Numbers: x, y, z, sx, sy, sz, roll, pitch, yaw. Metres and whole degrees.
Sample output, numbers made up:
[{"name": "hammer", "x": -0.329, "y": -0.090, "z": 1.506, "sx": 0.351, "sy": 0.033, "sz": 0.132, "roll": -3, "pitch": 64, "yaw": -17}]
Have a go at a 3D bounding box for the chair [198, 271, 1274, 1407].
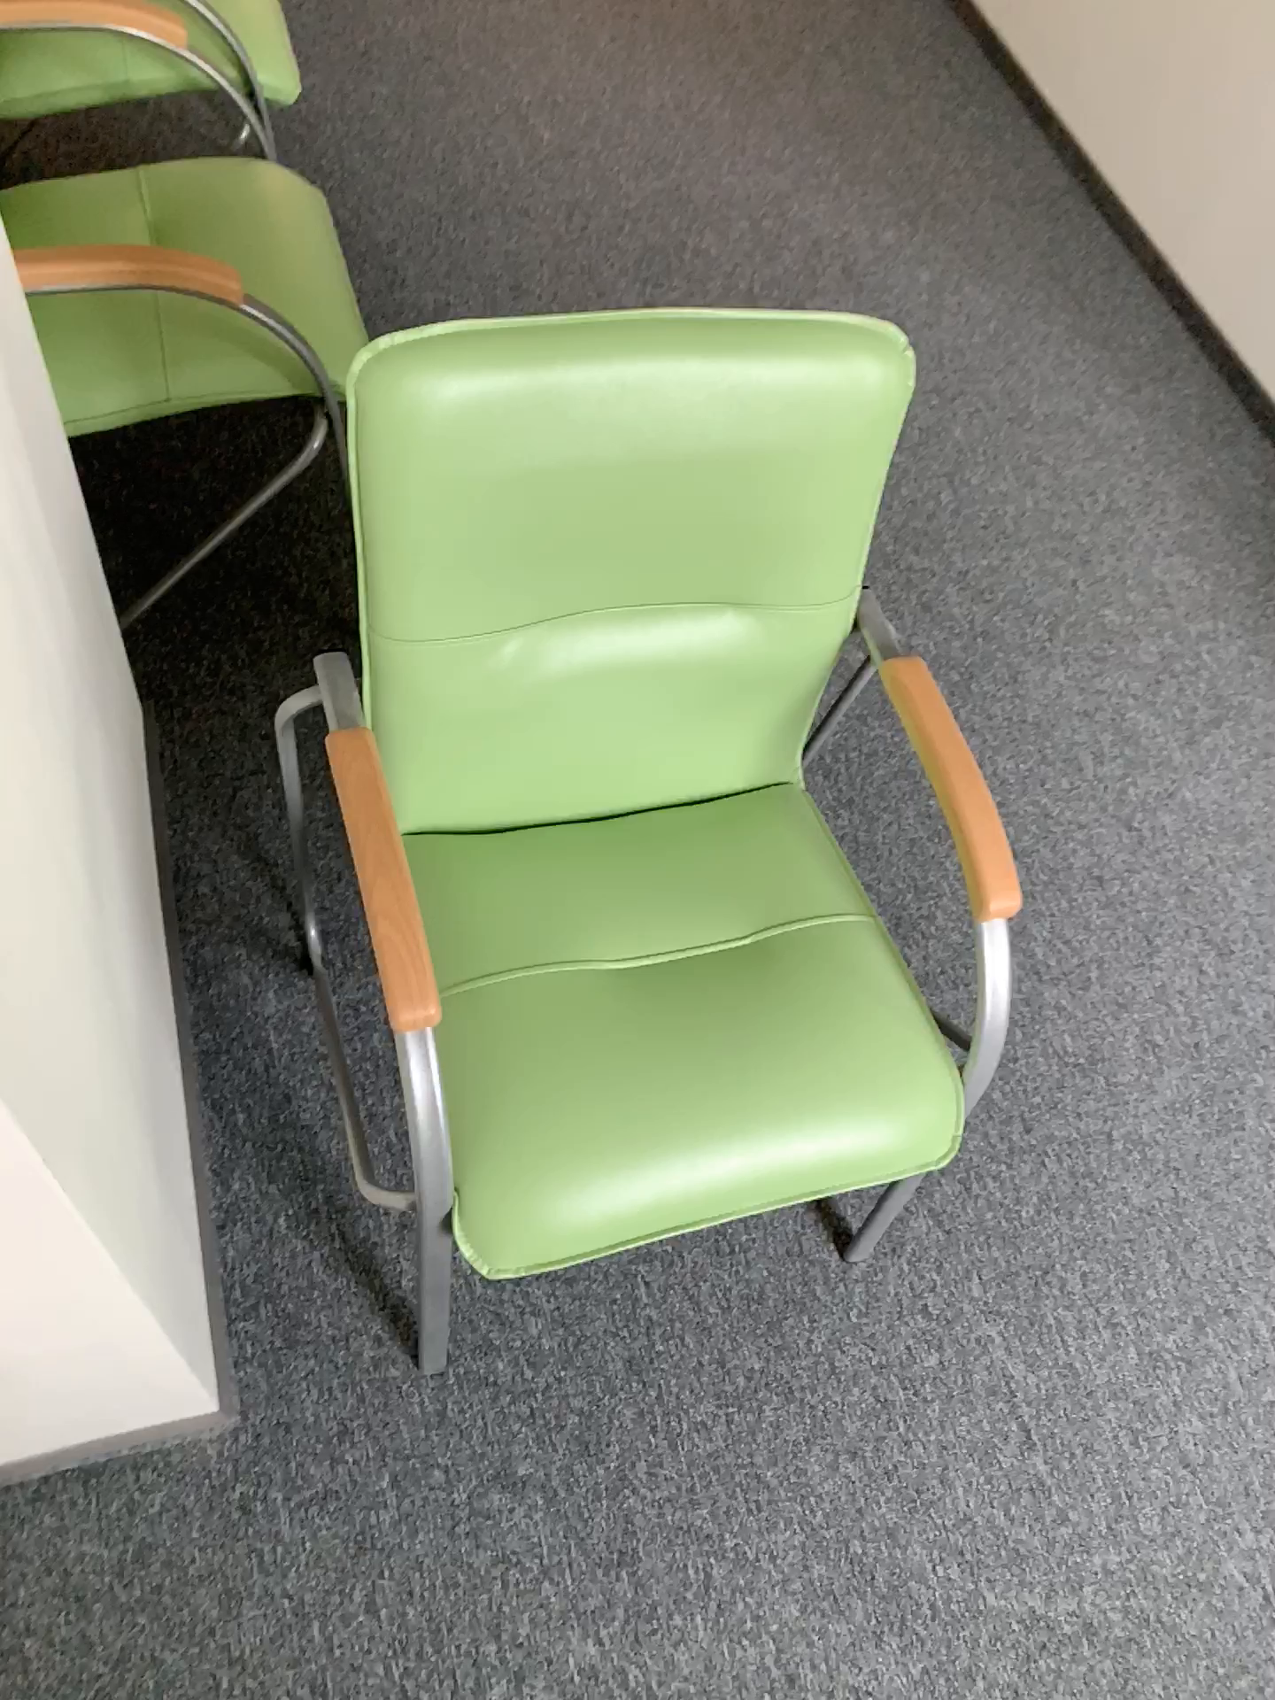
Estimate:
[{"name": "chair", "x": -0.004, "y": 0.048, "z": 1.235, "sx": 0.621, "sy": 0.877, "sz": 0.622, "roll": -9, "pitch": 60, "yaw": -15}]
